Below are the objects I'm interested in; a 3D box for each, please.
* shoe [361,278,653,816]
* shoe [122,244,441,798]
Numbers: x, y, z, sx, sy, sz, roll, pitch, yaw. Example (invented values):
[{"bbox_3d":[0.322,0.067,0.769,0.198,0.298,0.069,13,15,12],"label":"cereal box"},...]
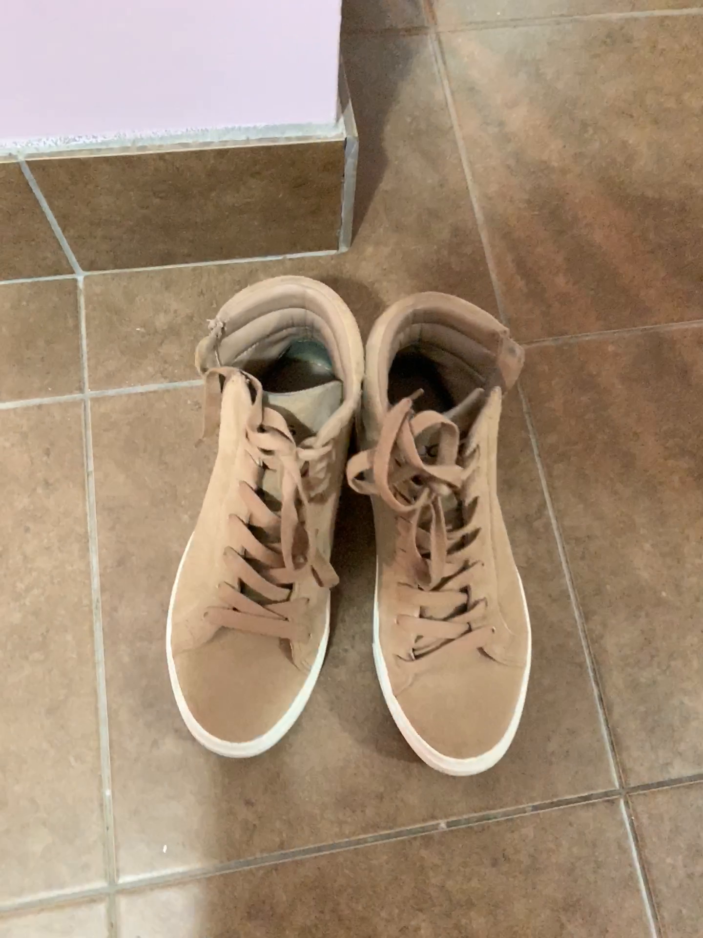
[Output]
[{"bbox_3d":[0.071,0.041,0.417,0.113,0.120,0.270,-1,72,-4],"label":"shoe"},{"bbox_3d":[-0.027,0.028,0.396,0.105,0.117,0.254,9,72,0],"label":"shoe"}]
